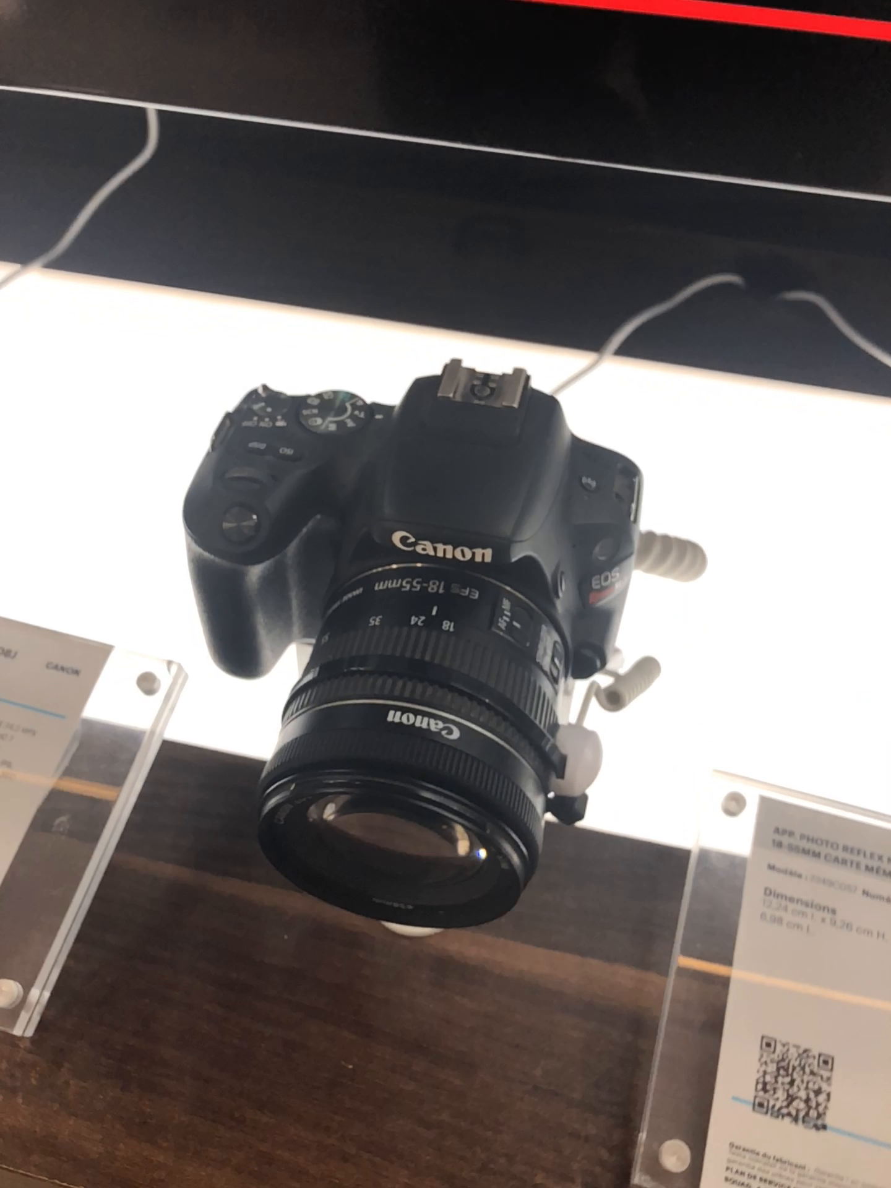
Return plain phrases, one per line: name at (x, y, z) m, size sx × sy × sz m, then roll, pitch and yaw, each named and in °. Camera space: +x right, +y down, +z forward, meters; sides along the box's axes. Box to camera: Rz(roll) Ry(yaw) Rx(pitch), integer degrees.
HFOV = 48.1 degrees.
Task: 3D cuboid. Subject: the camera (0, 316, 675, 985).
camera at (-0.017, 0.008, 0.245) m, size 0.124 × 0.082 × 0.119 m, roll 10°, pitch 47°, yaw 8°
